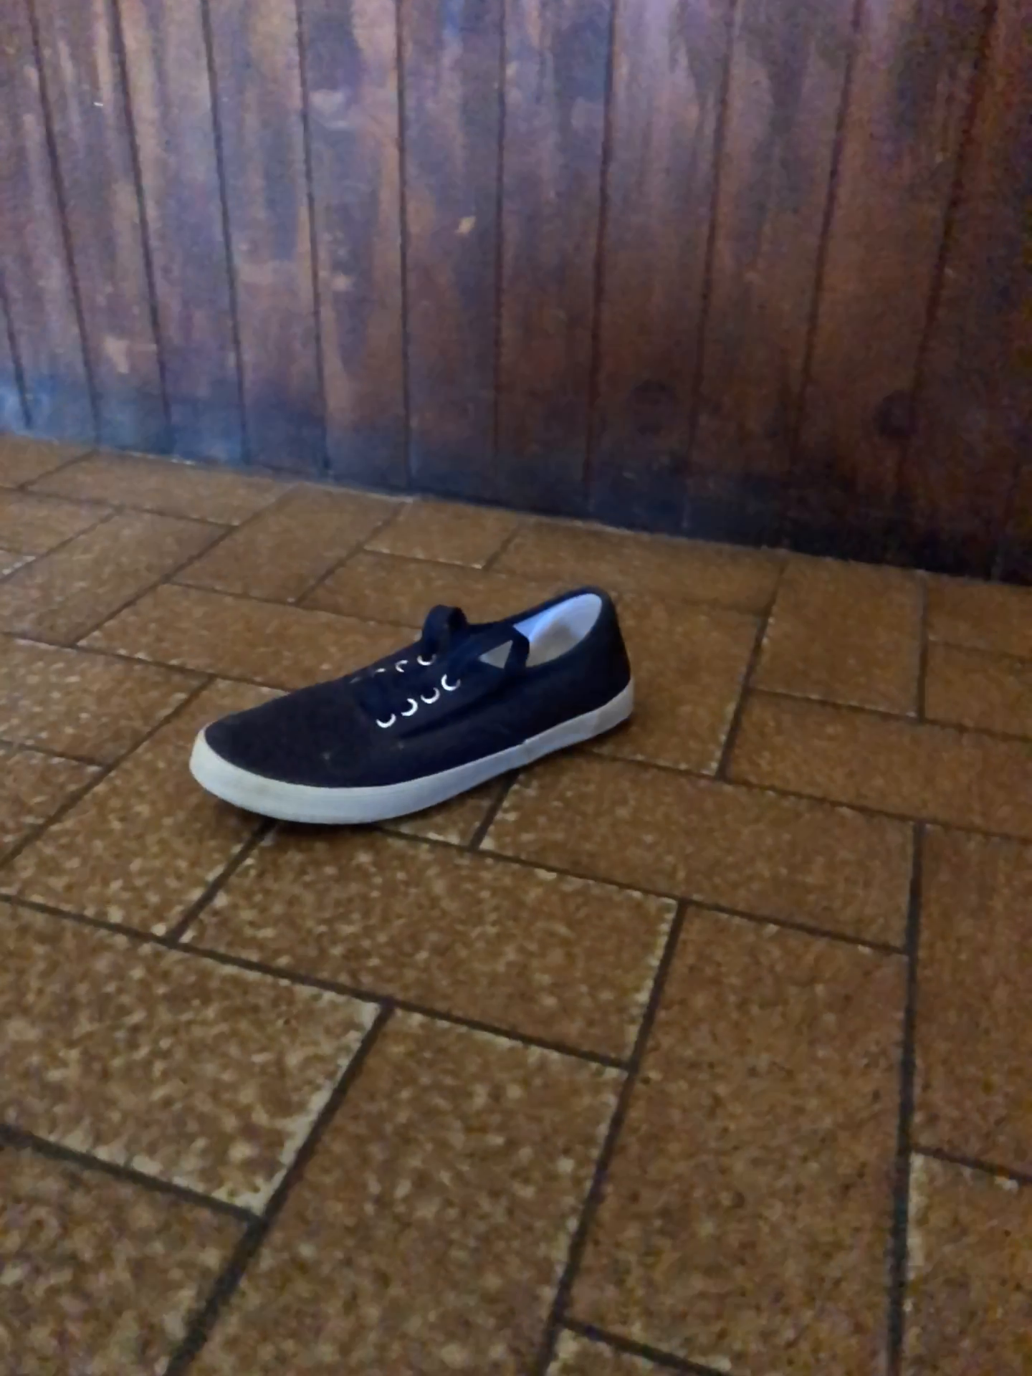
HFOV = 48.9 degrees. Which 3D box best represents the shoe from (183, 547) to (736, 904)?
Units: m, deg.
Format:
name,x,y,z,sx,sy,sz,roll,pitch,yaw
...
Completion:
name,x,y,z,sx,sy,sz,roll,pitch,yaw
shoe,-0.022,0.006,0.546,0.241,0.070,0.100,-17,35,-29
